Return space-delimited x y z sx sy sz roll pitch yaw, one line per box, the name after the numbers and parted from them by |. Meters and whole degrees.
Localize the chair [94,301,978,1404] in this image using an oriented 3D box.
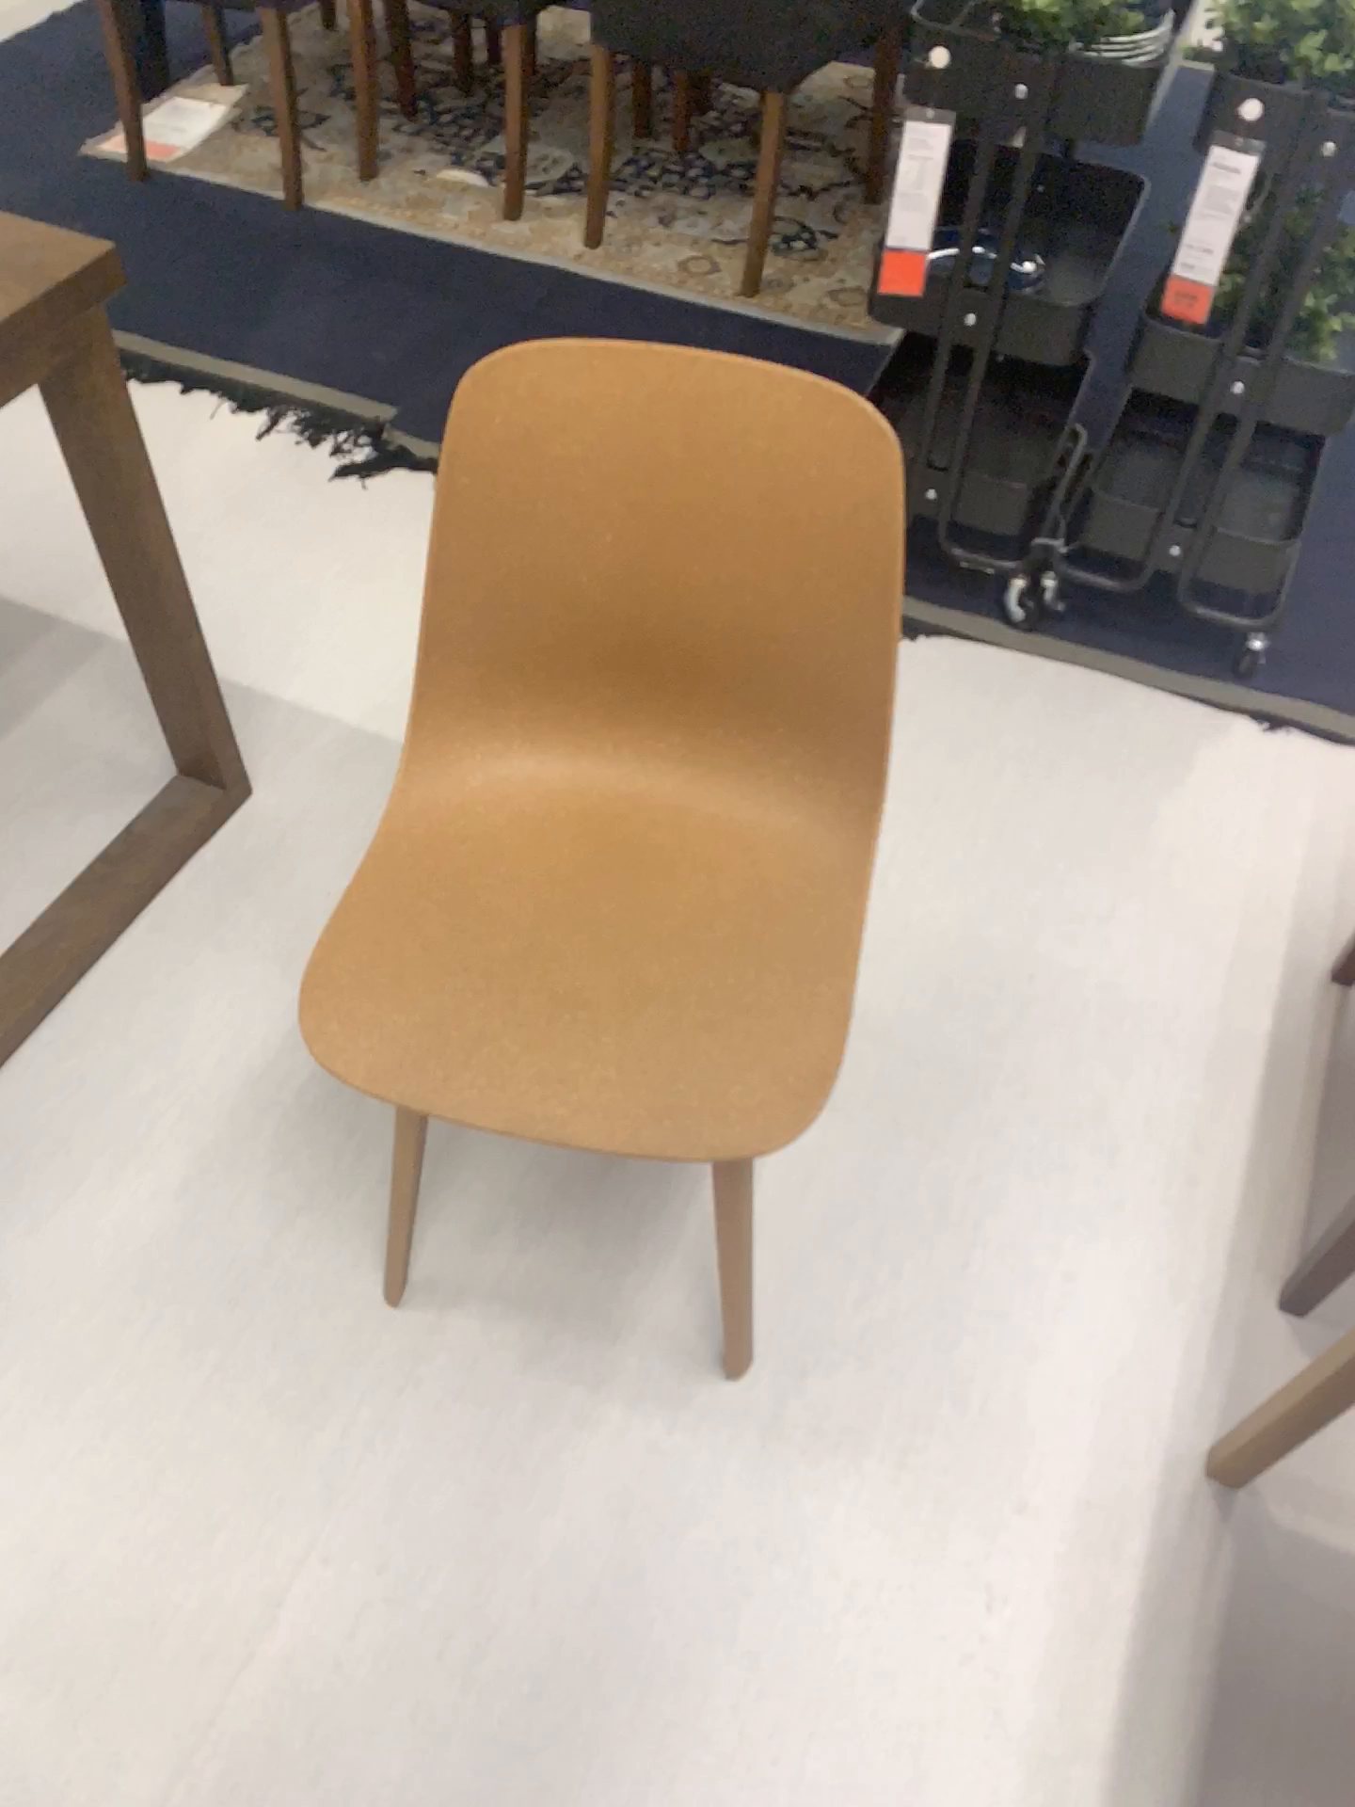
-0.056 -0.005 1.152 0.440 0.718 0.521 10 51 6 | chair
